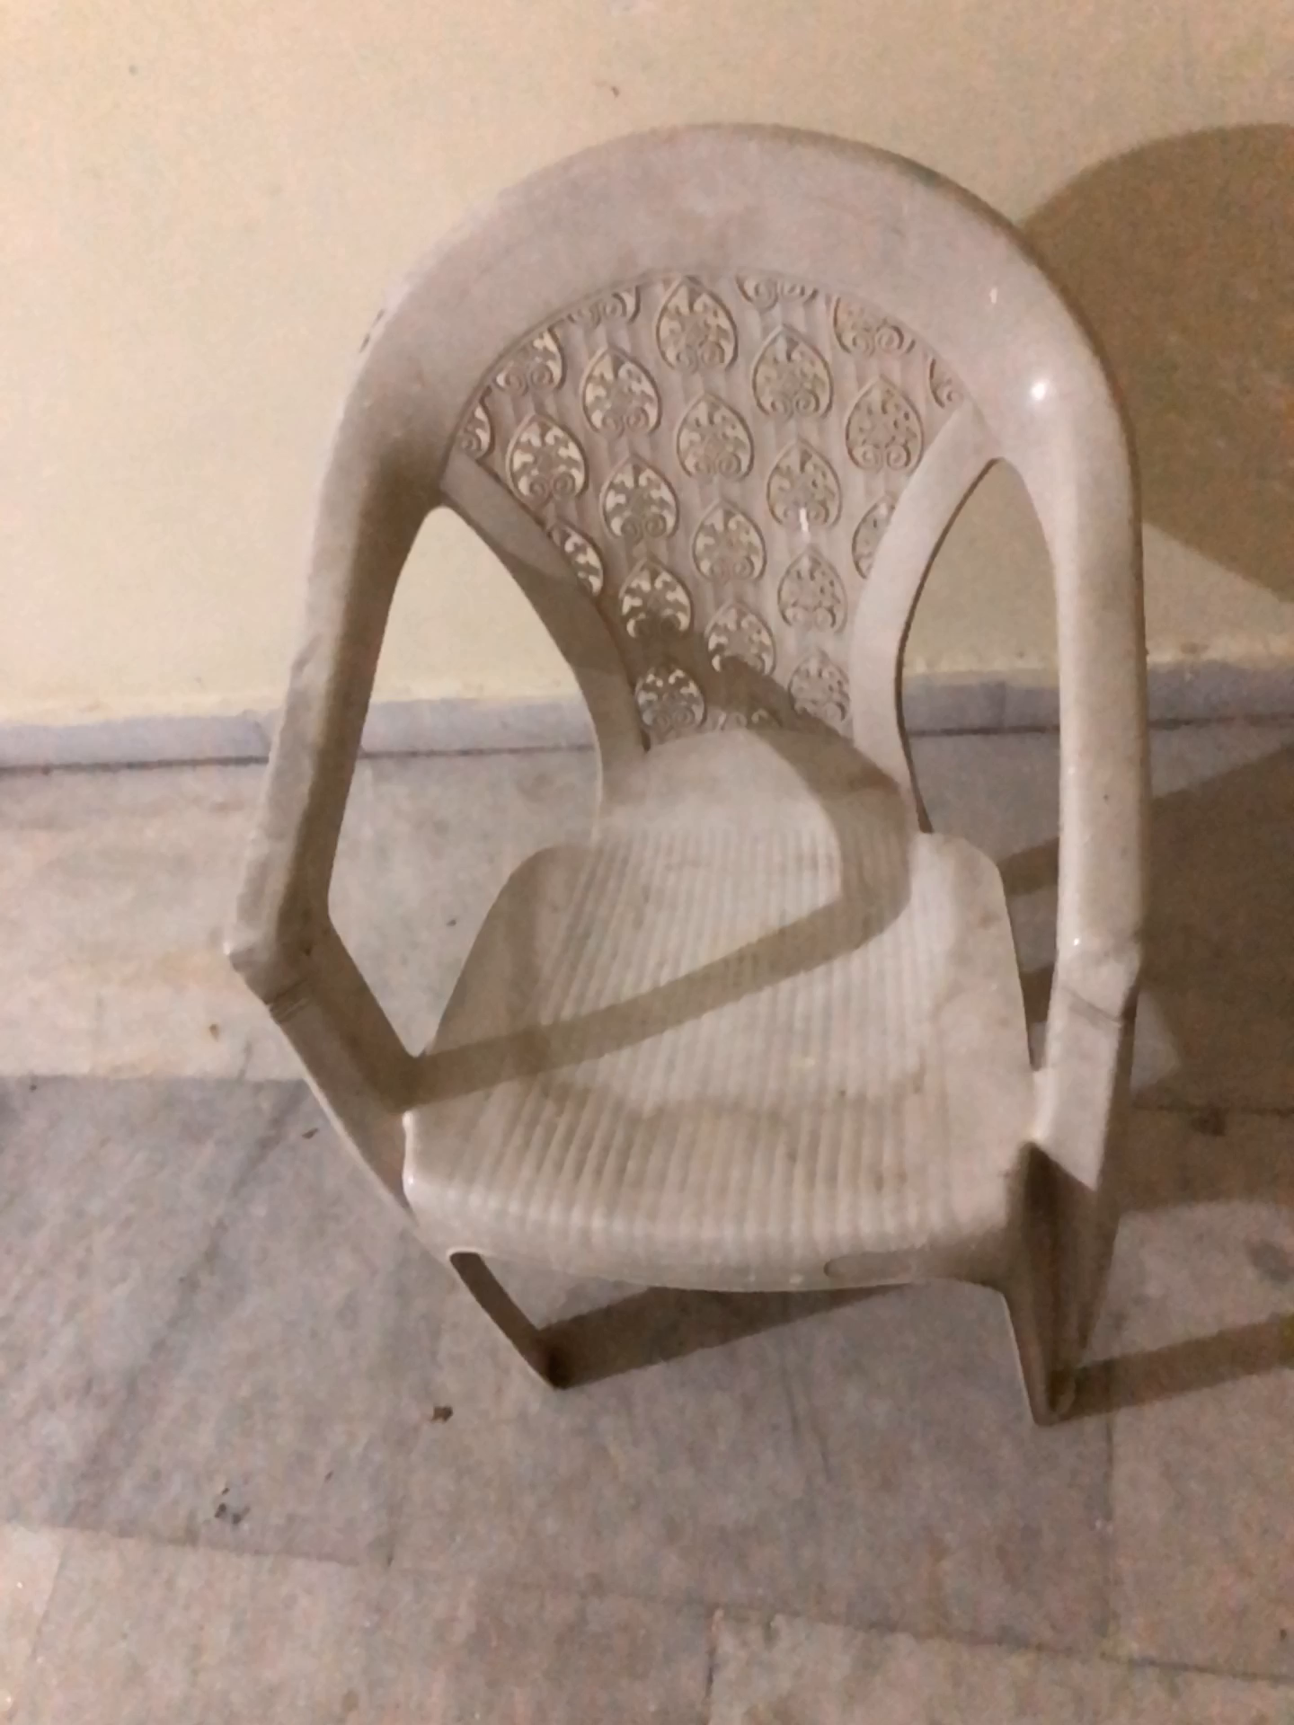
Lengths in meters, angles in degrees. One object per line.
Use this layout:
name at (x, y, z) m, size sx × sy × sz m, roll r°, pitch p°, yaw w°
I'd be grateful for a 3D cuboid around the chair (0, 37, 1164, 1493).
chair at (0.041, 0.037, 0.976) m, size 0.530 × 0.836 × 0.513 m, roll -1°, pitch 55°, yaw 16°
